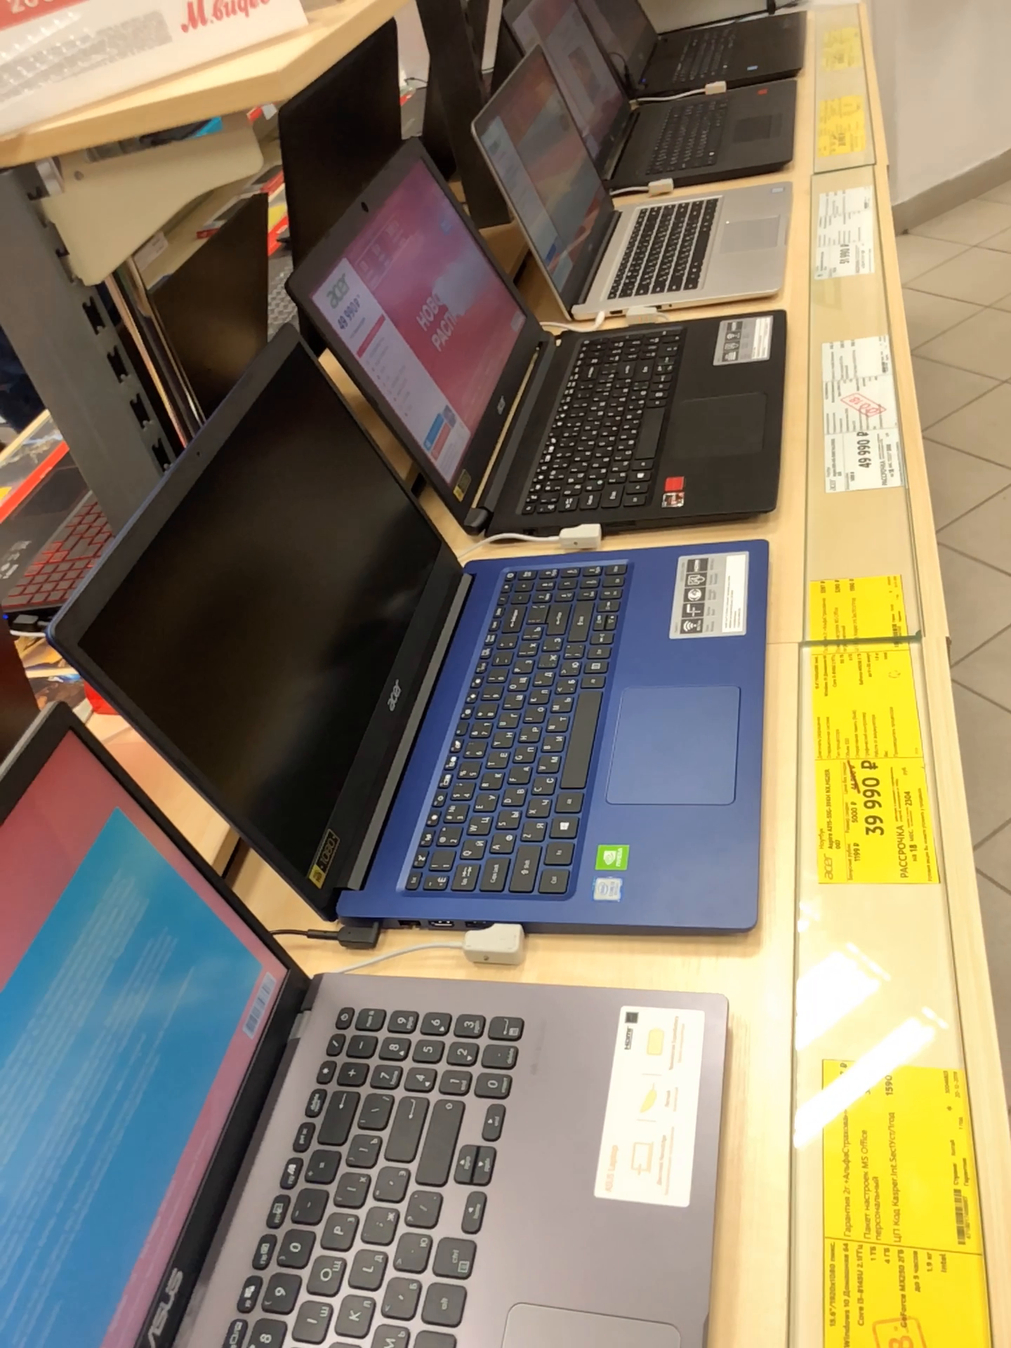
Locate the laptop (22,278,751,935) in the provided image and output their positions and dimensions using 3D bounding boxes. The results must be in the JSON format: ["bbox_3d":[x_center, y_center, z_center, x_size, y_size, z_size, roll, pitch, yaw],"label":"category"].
[{"bbox_3d":[-0.024,-0.058,0.707,0.327,0.221,0.359,-2,39,15],"label":"laptop"}]
